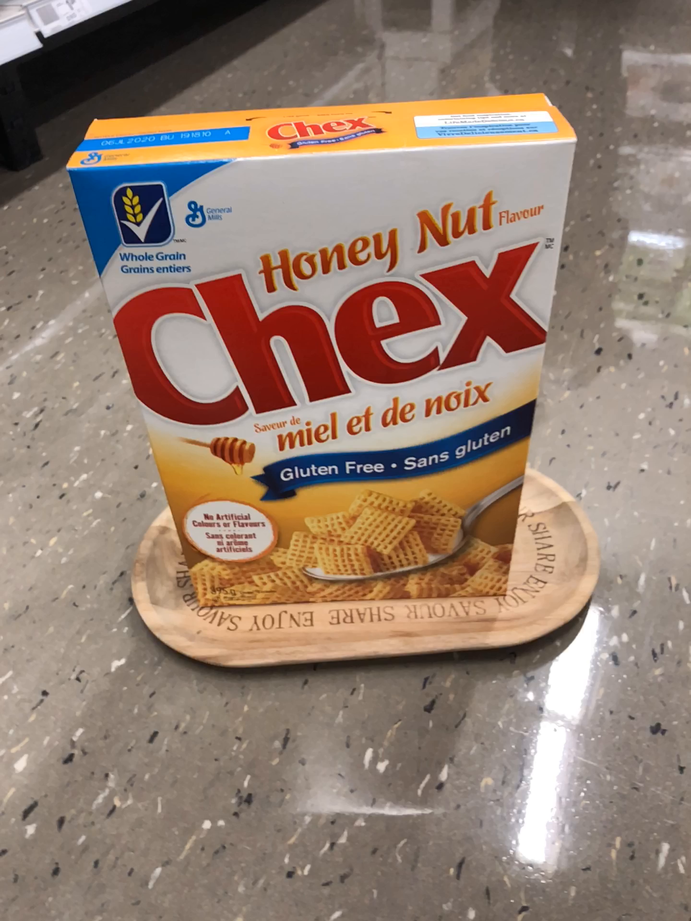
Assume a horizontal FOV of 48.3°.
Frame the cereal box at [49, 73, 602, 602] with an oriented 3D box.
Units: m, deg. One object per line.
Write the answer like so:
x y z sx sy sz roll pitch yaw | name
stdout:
-0.002 -0.039 0.408 0.210 0.279 0.060 -3 42 2 | cereal box
